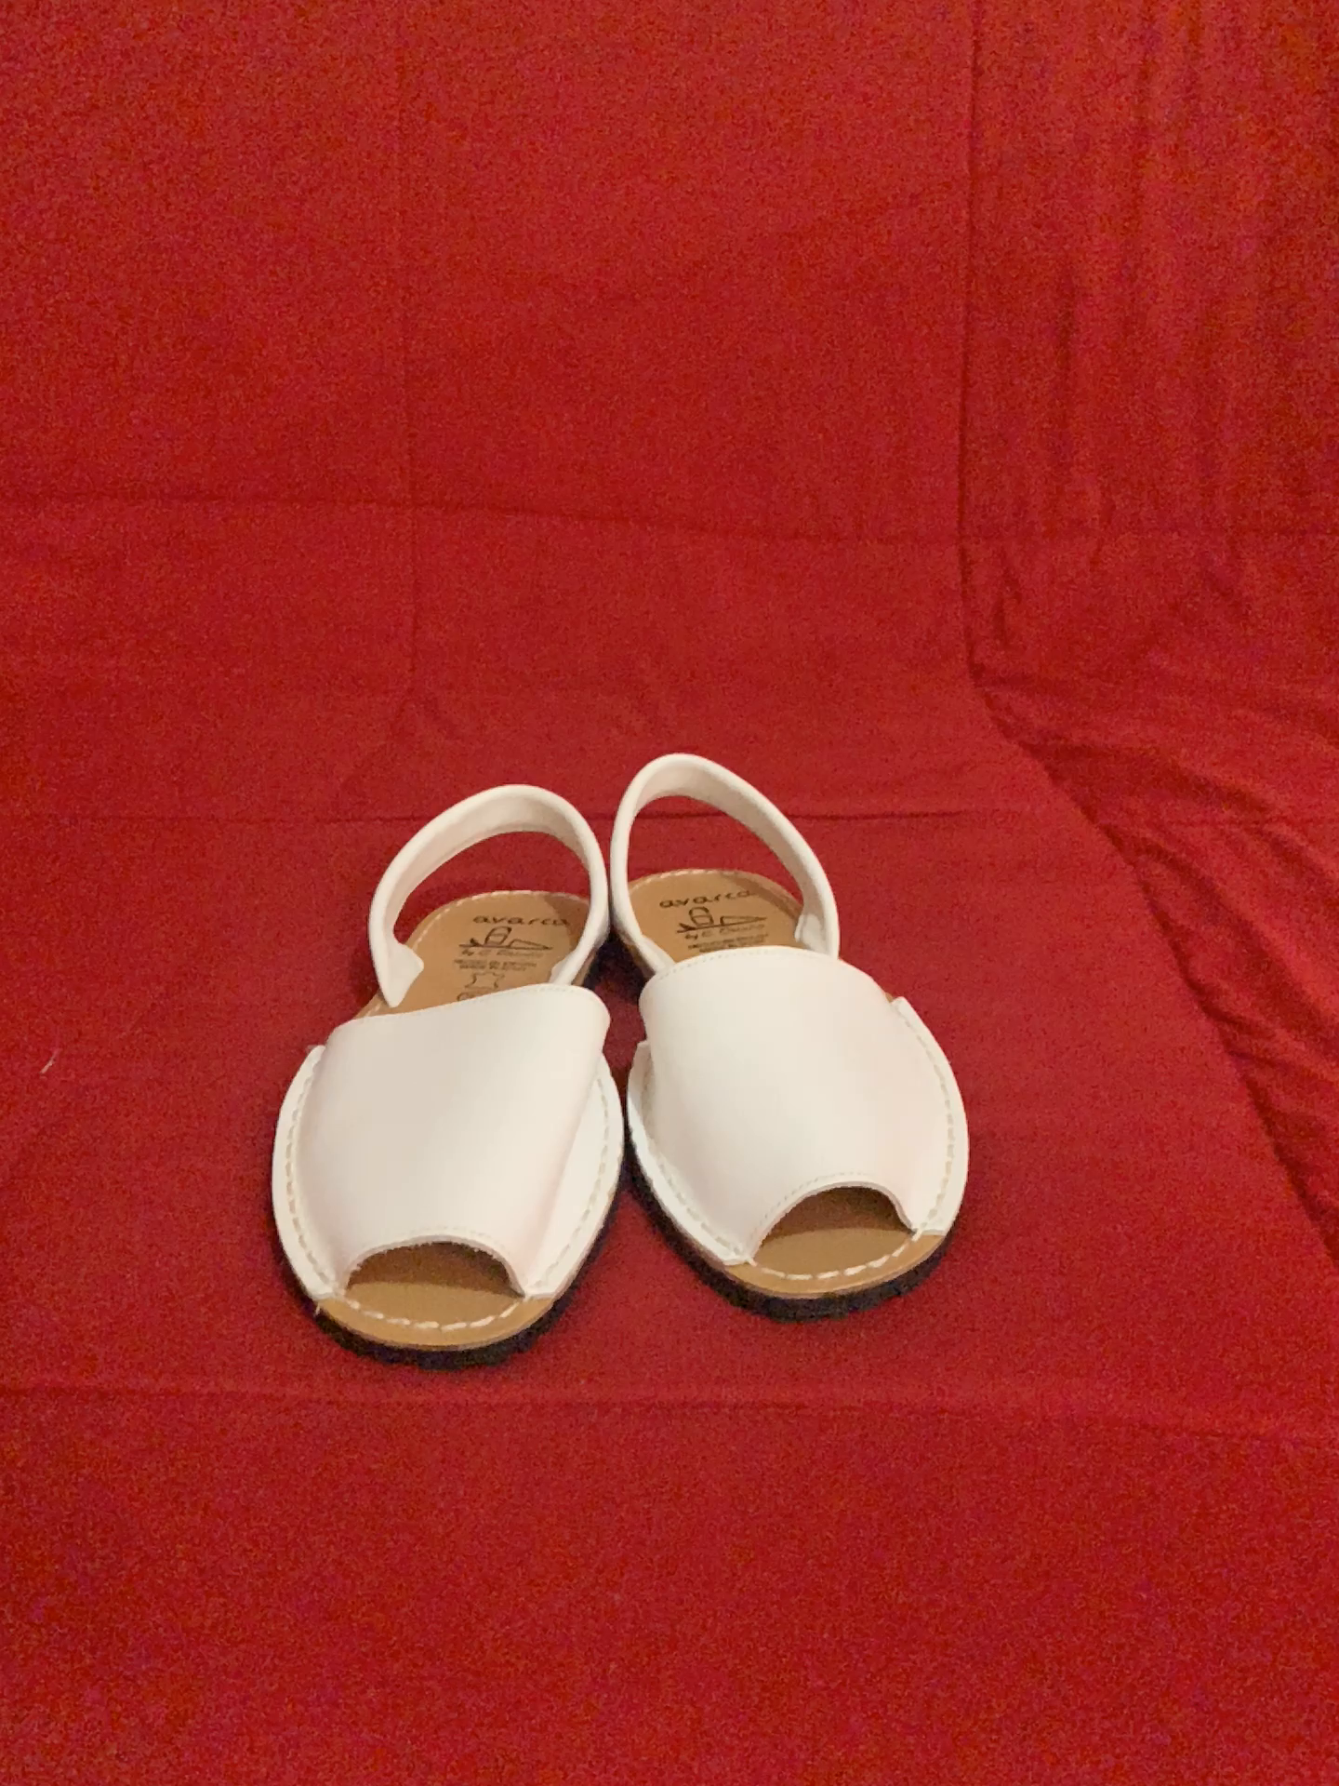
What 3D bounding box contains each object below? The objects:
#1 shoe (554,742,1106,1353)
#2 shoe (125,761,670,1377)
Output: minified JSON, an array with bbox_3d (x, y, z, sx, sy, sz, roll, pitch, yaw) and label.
[{"bbox_3d":[0.029,0.026,0.437,0.103,0.063,0.250,-5,26,-9],"label":"shoe"},{"bbox_3d":[-0.060,0.032,0.424,0.108,0.063,0.249,0,25,3],"label":"shoe"}]
